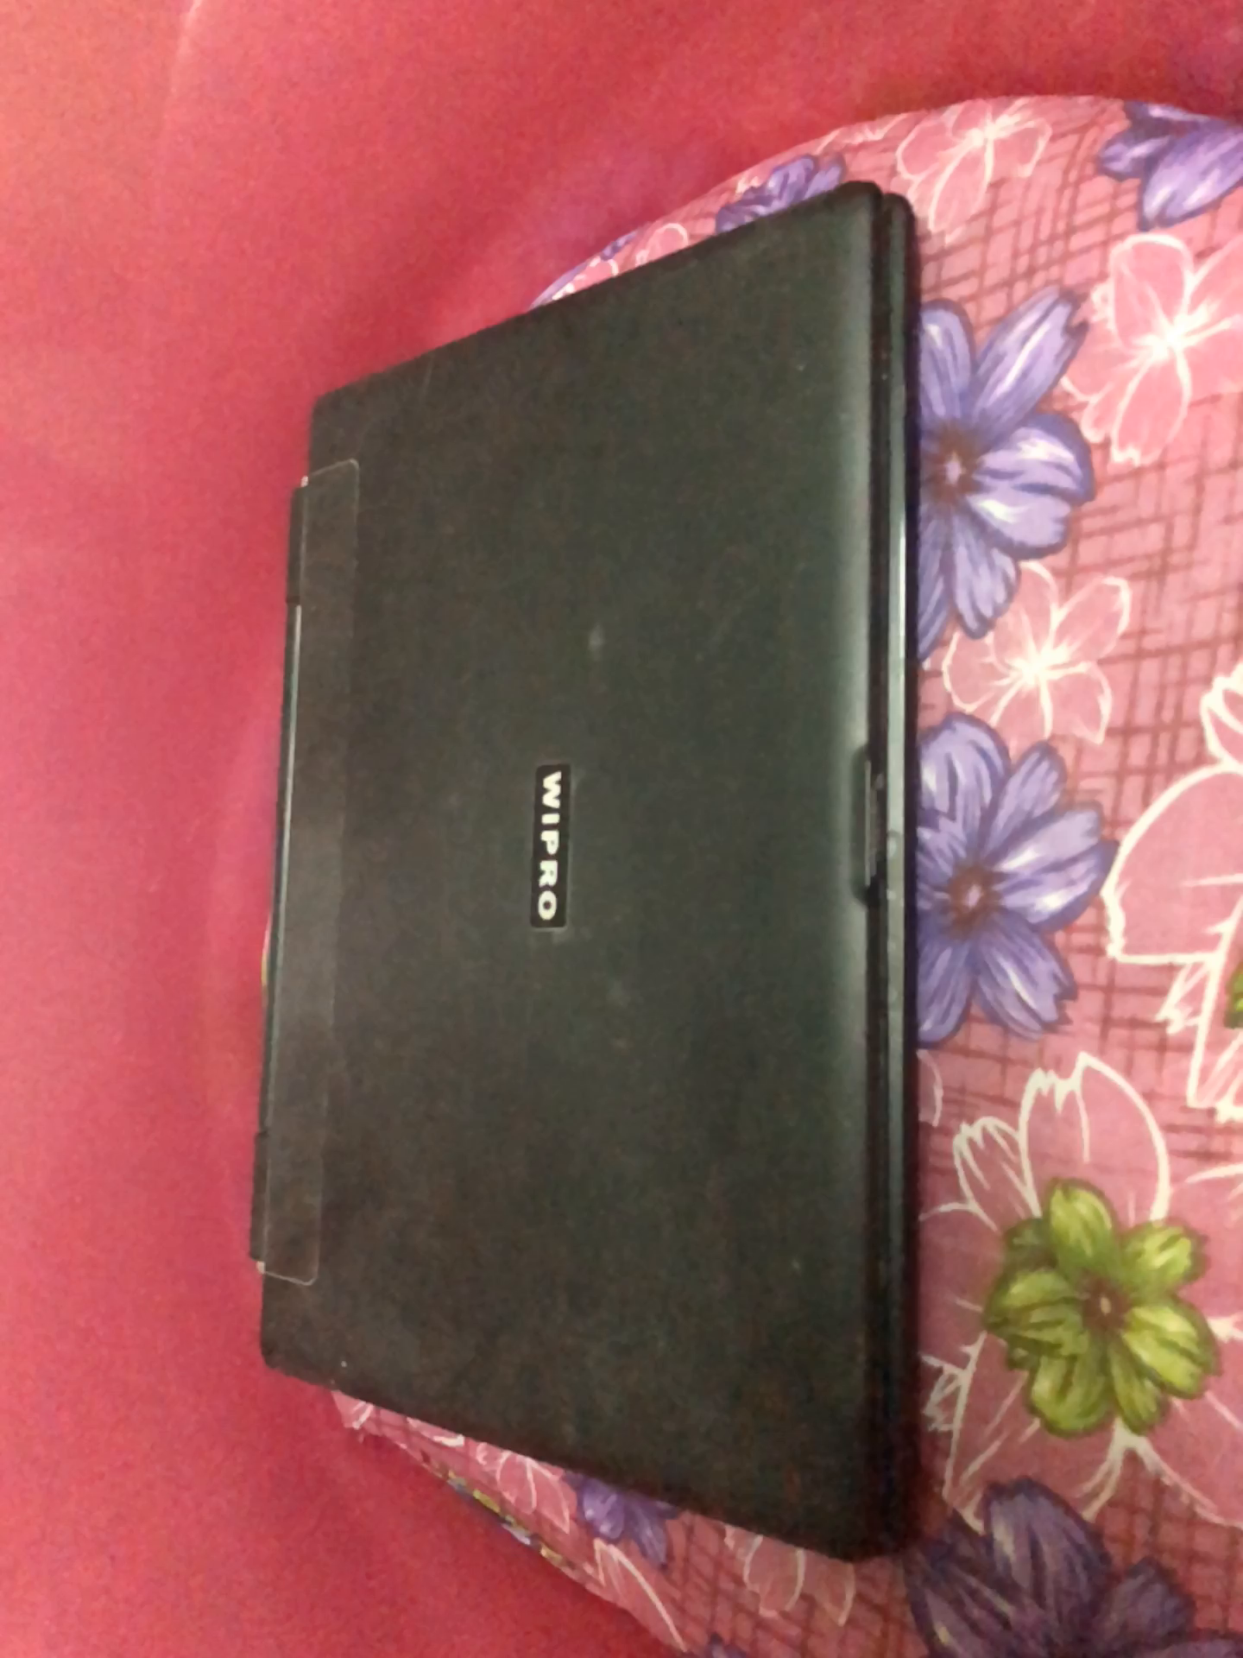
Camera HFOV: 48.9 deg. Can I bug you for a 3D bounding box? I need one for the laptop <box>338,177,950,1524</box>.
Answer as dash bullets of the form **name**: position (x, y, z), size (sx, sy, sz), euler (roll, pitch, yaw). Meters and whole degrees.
- **laptop**: position (-0.006, 0.002, 0.401), size (0.221, 0.006, 0.322), euler (-3, 82, 42)
